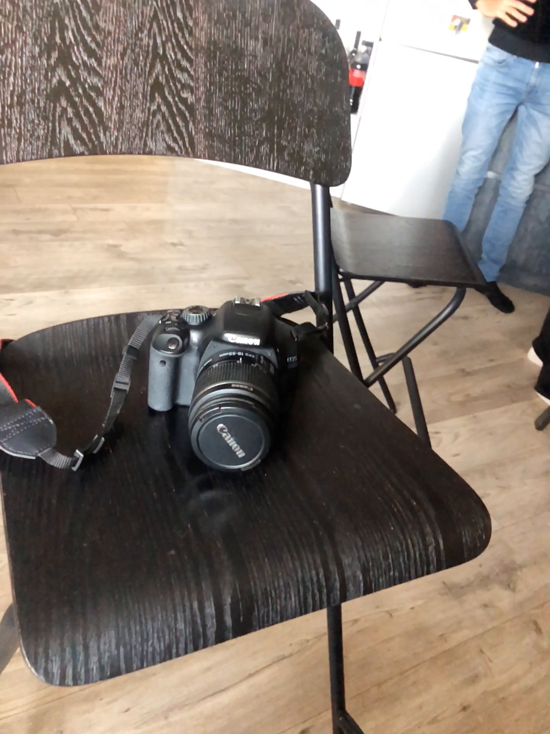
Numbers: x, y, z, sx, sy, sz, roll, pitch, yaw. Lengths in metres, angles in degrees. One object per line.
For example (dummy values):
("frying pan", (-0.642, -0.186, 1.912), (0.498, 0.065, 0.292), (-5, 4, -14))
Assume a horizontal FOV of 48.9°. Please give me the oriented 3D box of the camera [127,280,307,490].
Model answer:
("camera", (-0.045, 0.010, 0.498), (0.120, 0.092, 0.141), (8, 33, -6))
